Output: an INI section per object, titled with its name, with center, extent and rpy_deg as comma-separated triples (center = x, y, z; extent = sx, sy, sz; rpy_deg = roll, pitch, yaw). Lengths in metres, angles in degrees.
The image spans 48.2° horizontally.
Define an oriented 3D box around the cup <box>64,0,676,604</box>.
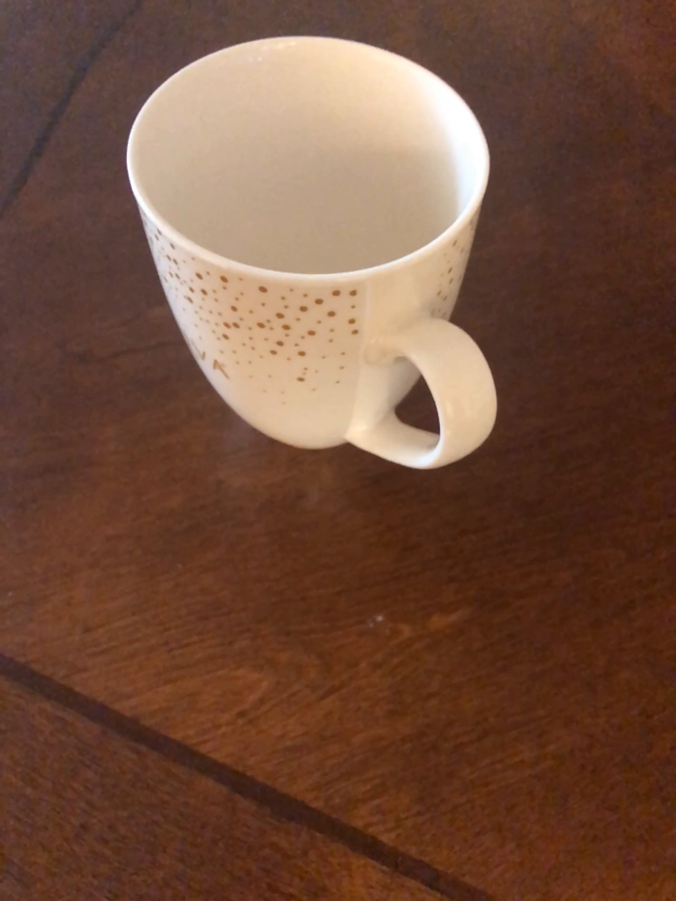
[cup]
center = 0.002, -0.051, 0.236
extent = 0.100, 0.100, 0.140
rpy_deg = -27, 64, -14
